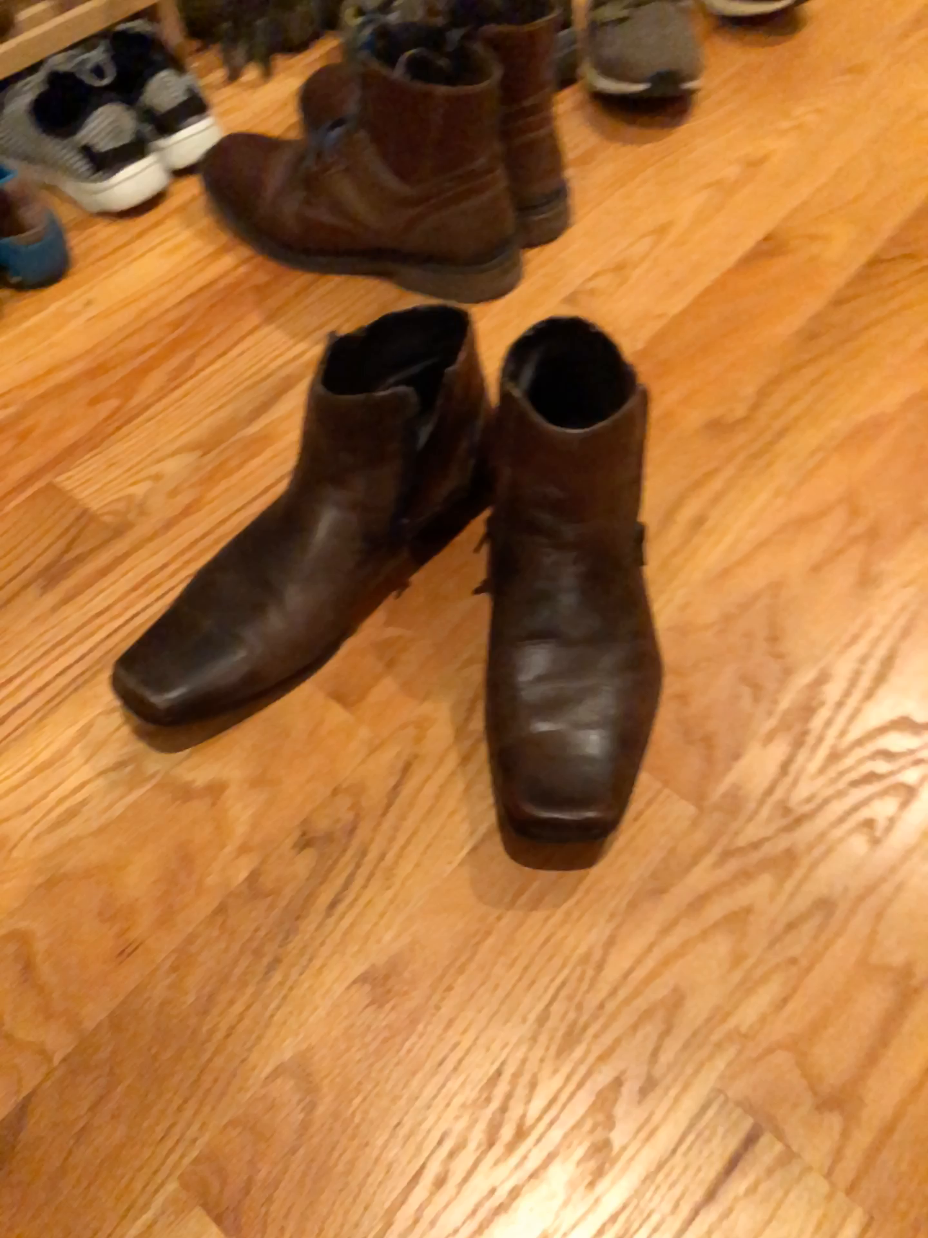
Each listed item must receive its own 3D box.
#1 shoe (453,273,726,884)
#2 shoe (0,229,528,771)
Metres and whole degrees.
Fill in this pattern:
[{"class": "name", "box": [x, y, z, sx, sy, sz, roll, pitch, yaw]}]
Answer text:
[{"class": "shoe", "box": [0.065, -0.031, 0.561, 0.109, 0.152, 0.302, 2, 55, 5]}, {"class": "shoe", "box": [-0.097, -0.076, 0.597, 0.109, 0.142, 0.291, 35, 63, 24]}]
